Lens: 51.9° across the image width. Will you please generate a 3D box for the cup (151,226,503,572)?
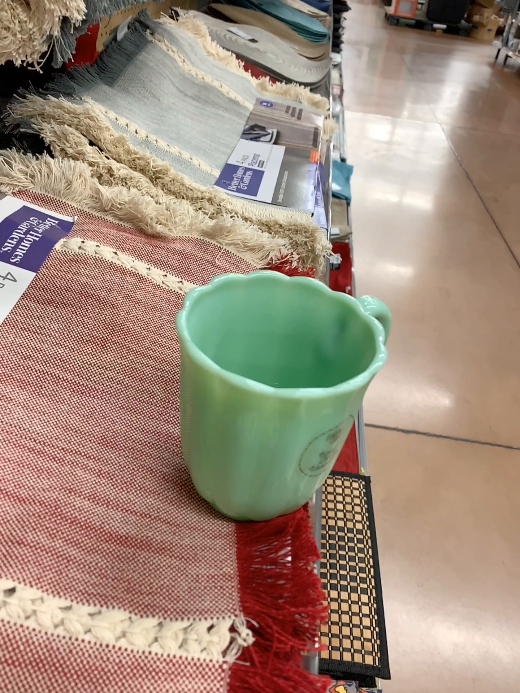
[{"bbox_3d":[0.028,0.014,0.260,0.130,0.090,0.090,-24,48,-34],"label":"cup"}]
